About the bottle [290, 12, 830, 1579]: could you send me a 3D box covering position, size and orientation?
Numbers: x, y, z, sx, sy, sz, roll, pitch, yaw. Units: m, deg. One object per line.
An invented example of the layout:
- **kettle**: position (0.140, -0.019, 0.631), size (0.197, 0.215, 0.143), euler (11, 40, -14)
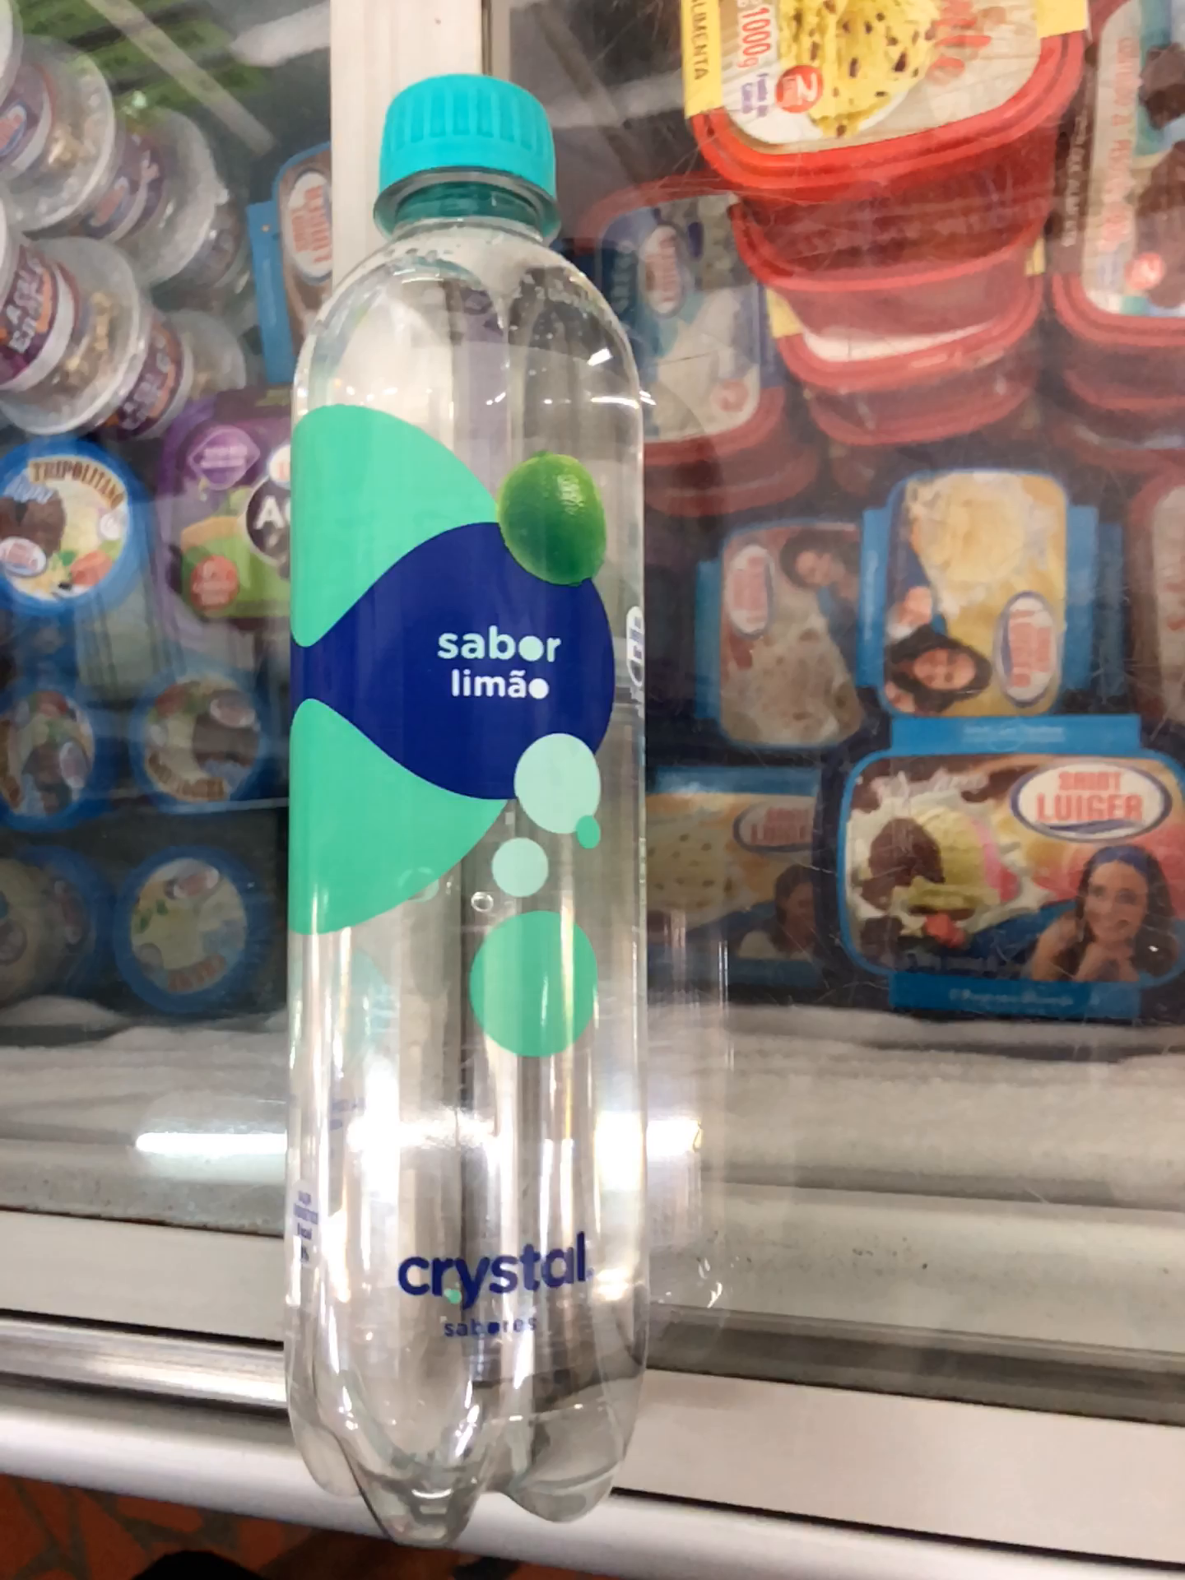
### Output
- **bottle**: position (-0.011, 0.016, 0.222), size (0.070, 0.070, 0.240), euler (1, 92, -14)
